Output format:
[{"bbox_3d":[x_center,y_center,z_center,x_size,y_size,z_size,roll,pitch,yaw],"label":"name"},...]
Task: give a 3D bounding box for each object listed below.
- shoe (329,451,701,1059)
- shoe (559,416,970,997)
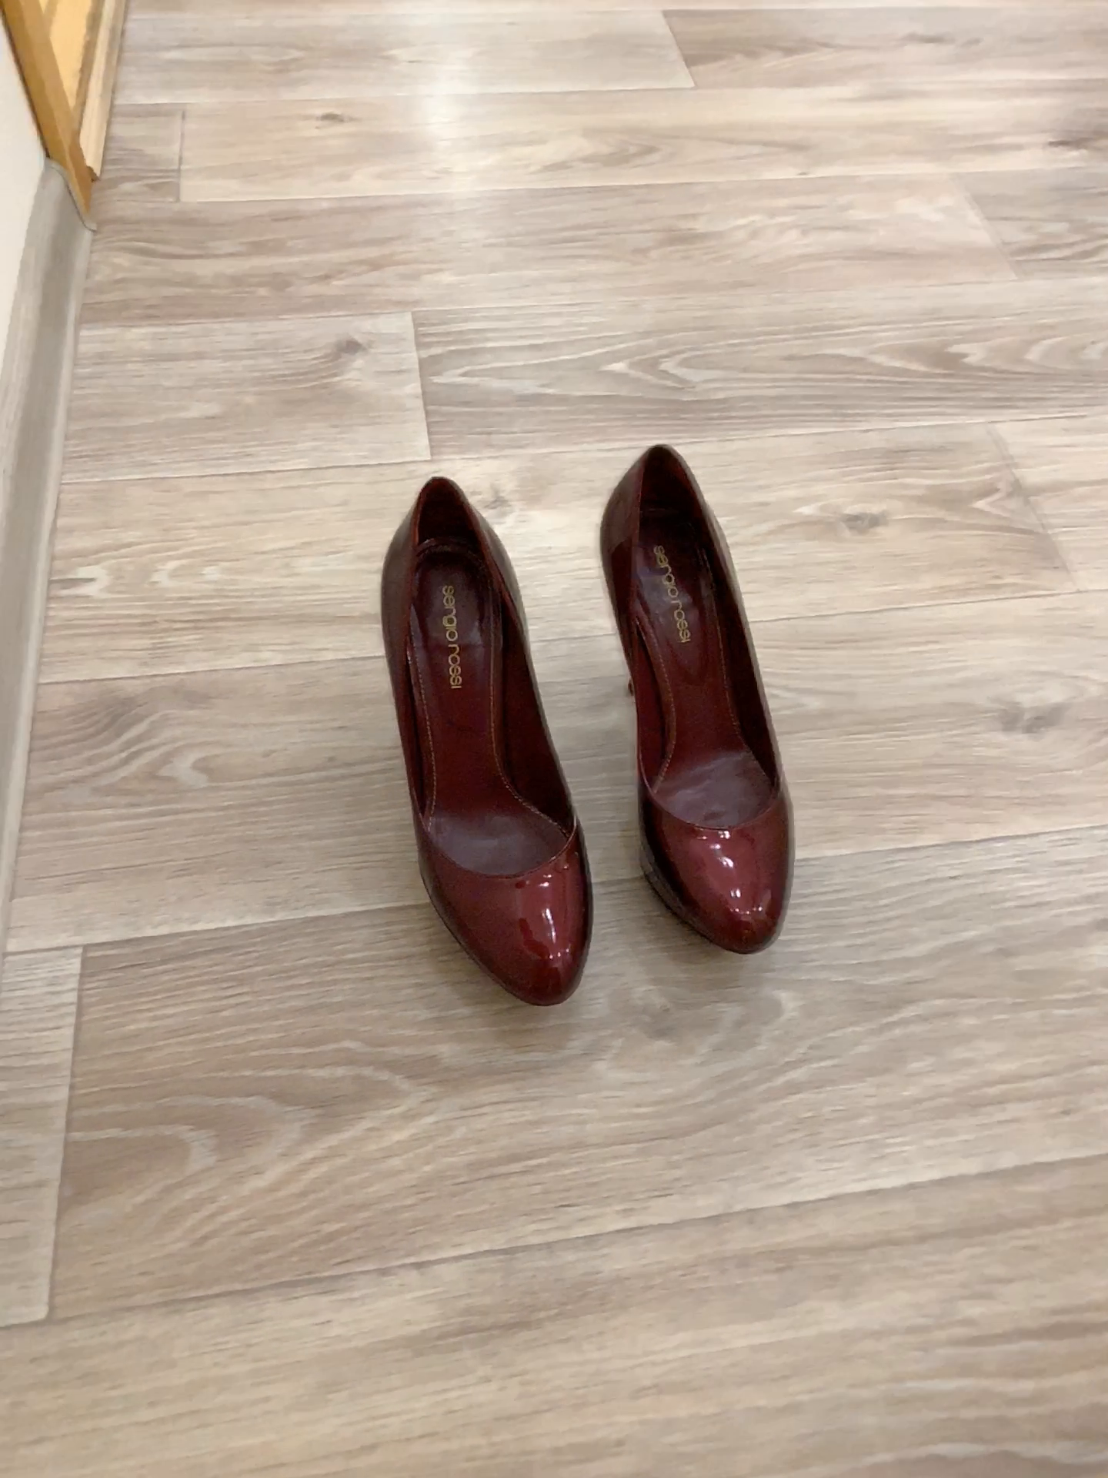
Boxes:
[{"bbox_3d":[-0.027,0.005,0.508,0.086,0.149,0.211,-14,56,-13],"label":"shoe"},{"bbox_3d":[0.078,-0.017,0.529,0.086,0.149,0.211,-12,56,-12],"label":"shoe"}]
